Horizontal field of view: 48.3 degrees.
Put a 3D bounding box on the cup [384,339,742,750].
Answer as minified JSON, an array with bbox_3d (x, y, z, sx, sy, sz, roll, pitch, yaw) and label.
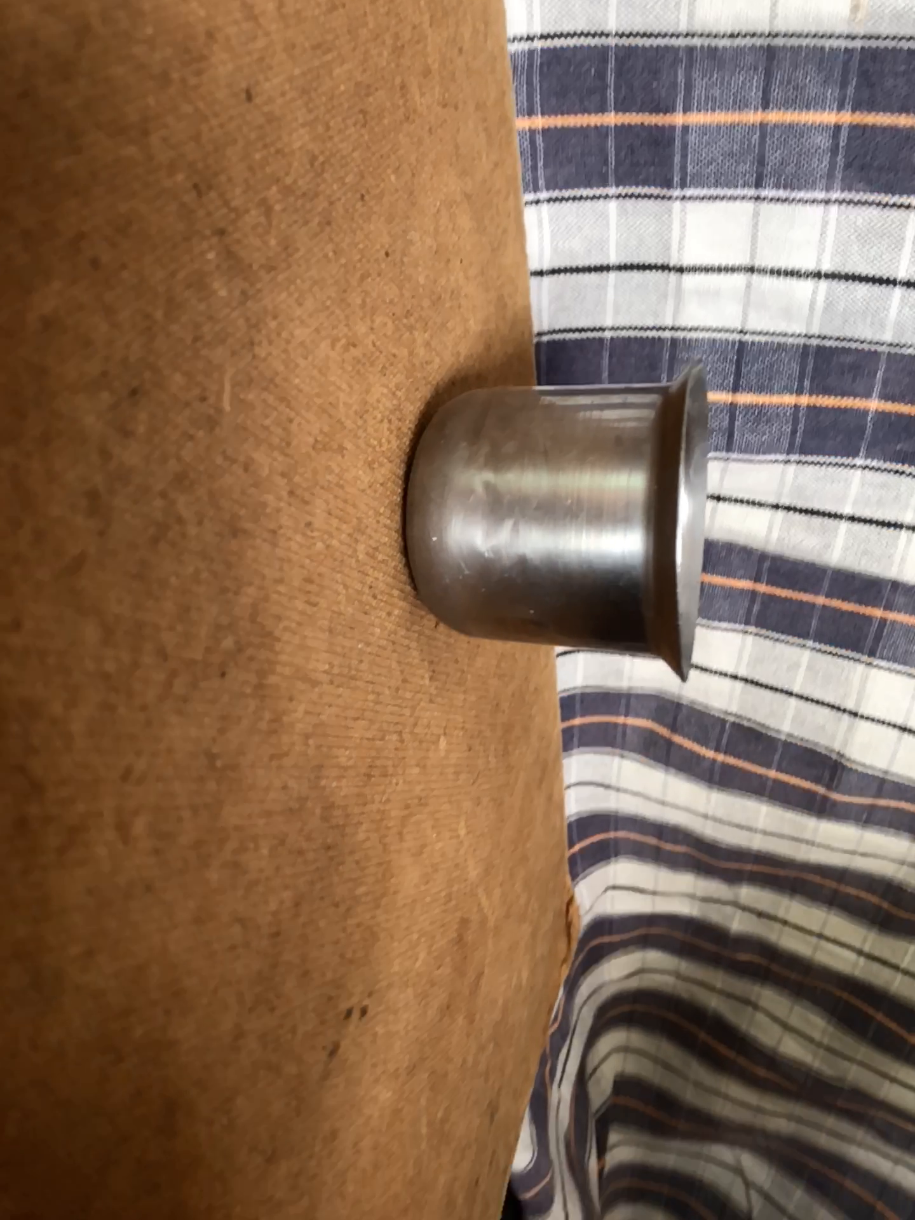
[{"bbox_3d":[0.026,-0.017,0.215,0.070,0.060,0.070,4,90,-73],"label":"cup"}]
